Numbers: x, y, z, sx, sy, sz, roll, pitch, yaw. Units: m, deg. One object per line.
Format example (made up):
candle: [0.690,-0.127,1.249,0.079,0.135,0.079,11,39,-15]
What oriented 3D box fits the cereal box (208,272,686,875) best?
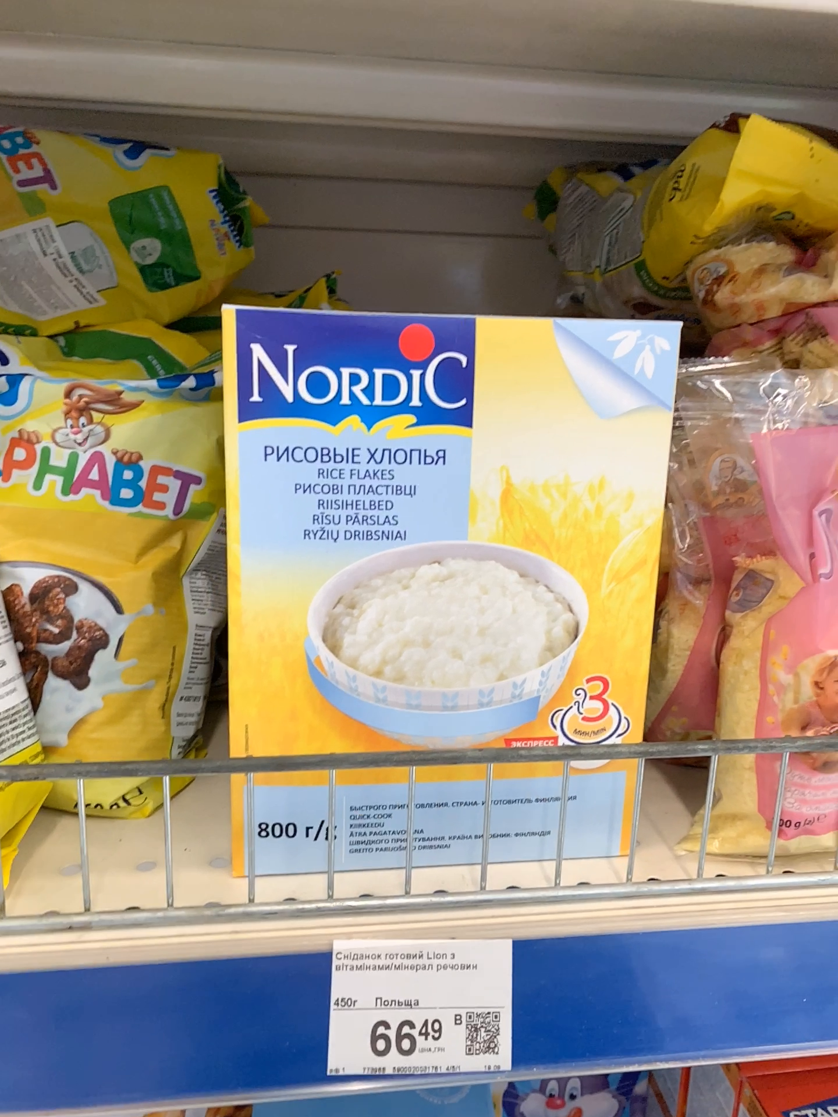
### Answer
cereal box: [0.004,0.002,0.328,0.150,0.199,0.080,0,12,-7]
